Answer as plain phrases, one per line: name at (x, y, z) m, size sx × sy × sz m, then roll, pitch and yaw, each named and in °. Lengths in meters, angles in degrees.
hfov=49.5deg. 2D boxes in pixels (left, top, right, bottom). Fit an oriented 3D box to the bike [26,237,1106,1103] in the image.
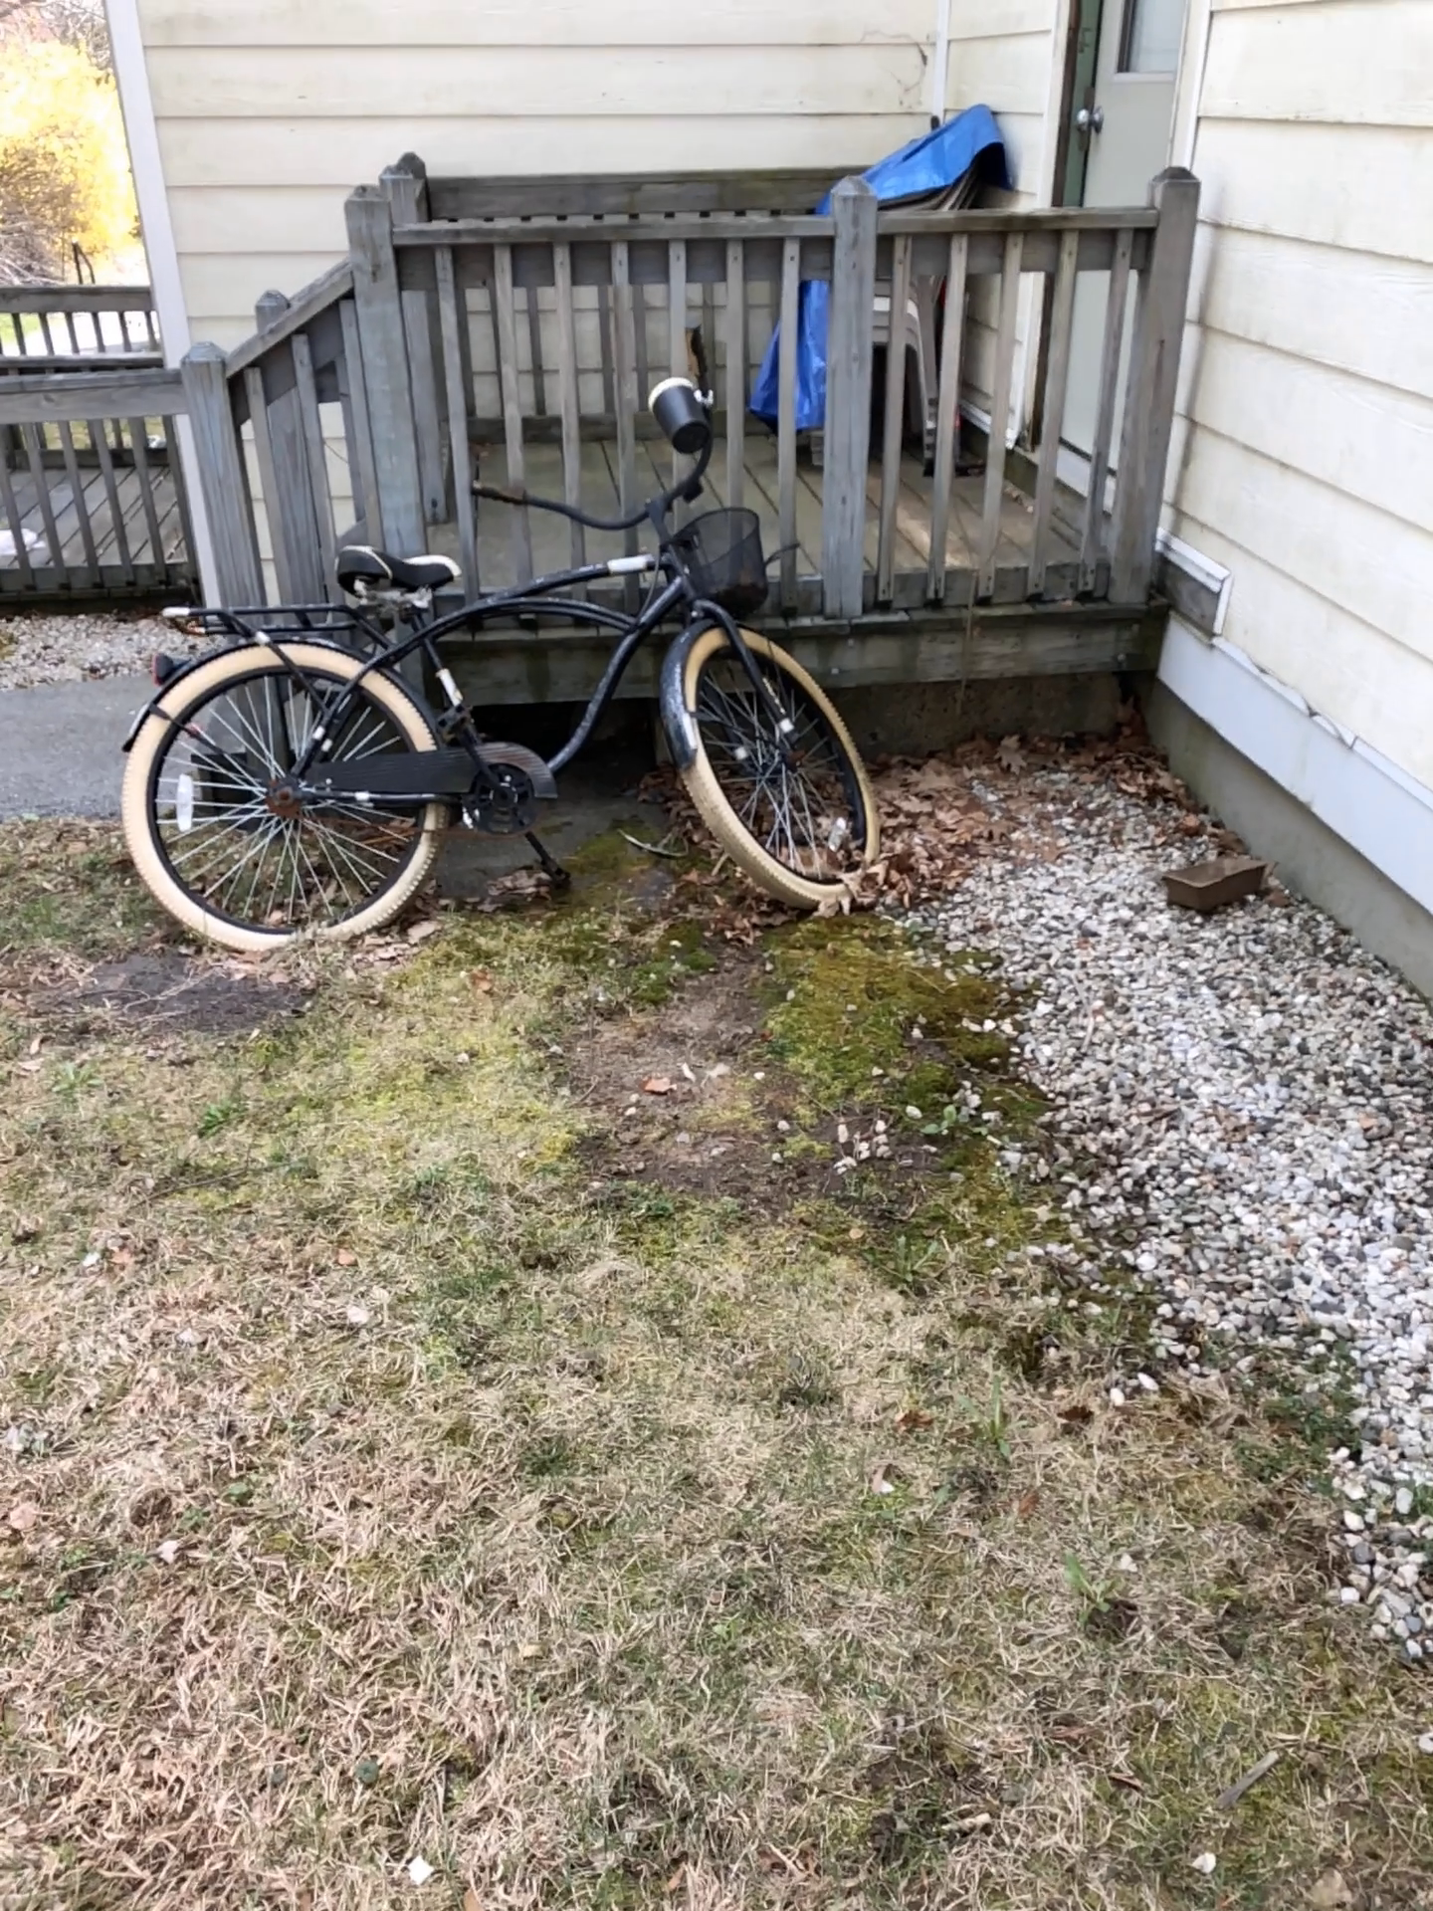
bike at (-0.351, -0.650, 3.254) m, size 1.610 × 1.313 × 0.942 m, roll -13°, pitch 31°, yaw -15°
